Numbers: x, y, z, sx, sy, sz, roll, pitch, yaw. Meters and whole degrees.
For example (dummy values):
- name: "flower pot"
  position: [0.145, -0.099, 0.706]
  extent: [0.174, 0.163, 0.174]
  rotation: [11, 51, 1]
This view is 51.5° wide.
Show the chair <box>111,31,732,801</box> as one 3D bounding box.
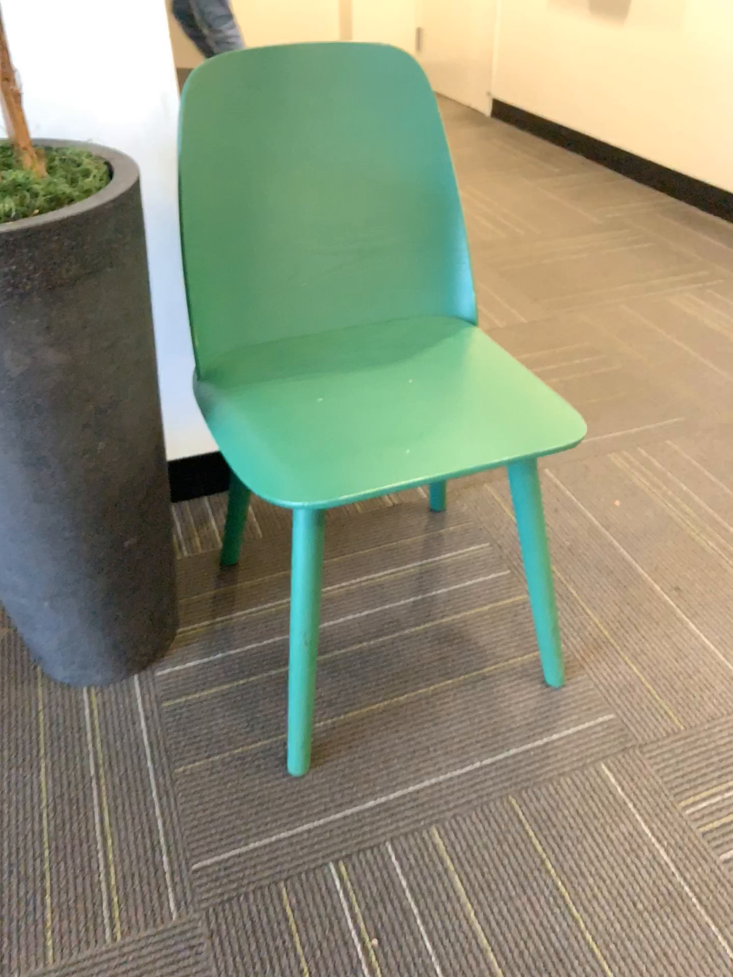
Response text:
- name: "chair"
  position: [-0.026, -0.155, 0.952]
  extent: [0.390, 0.626, 0.714]
  rotation: [-12, 39, -14]
